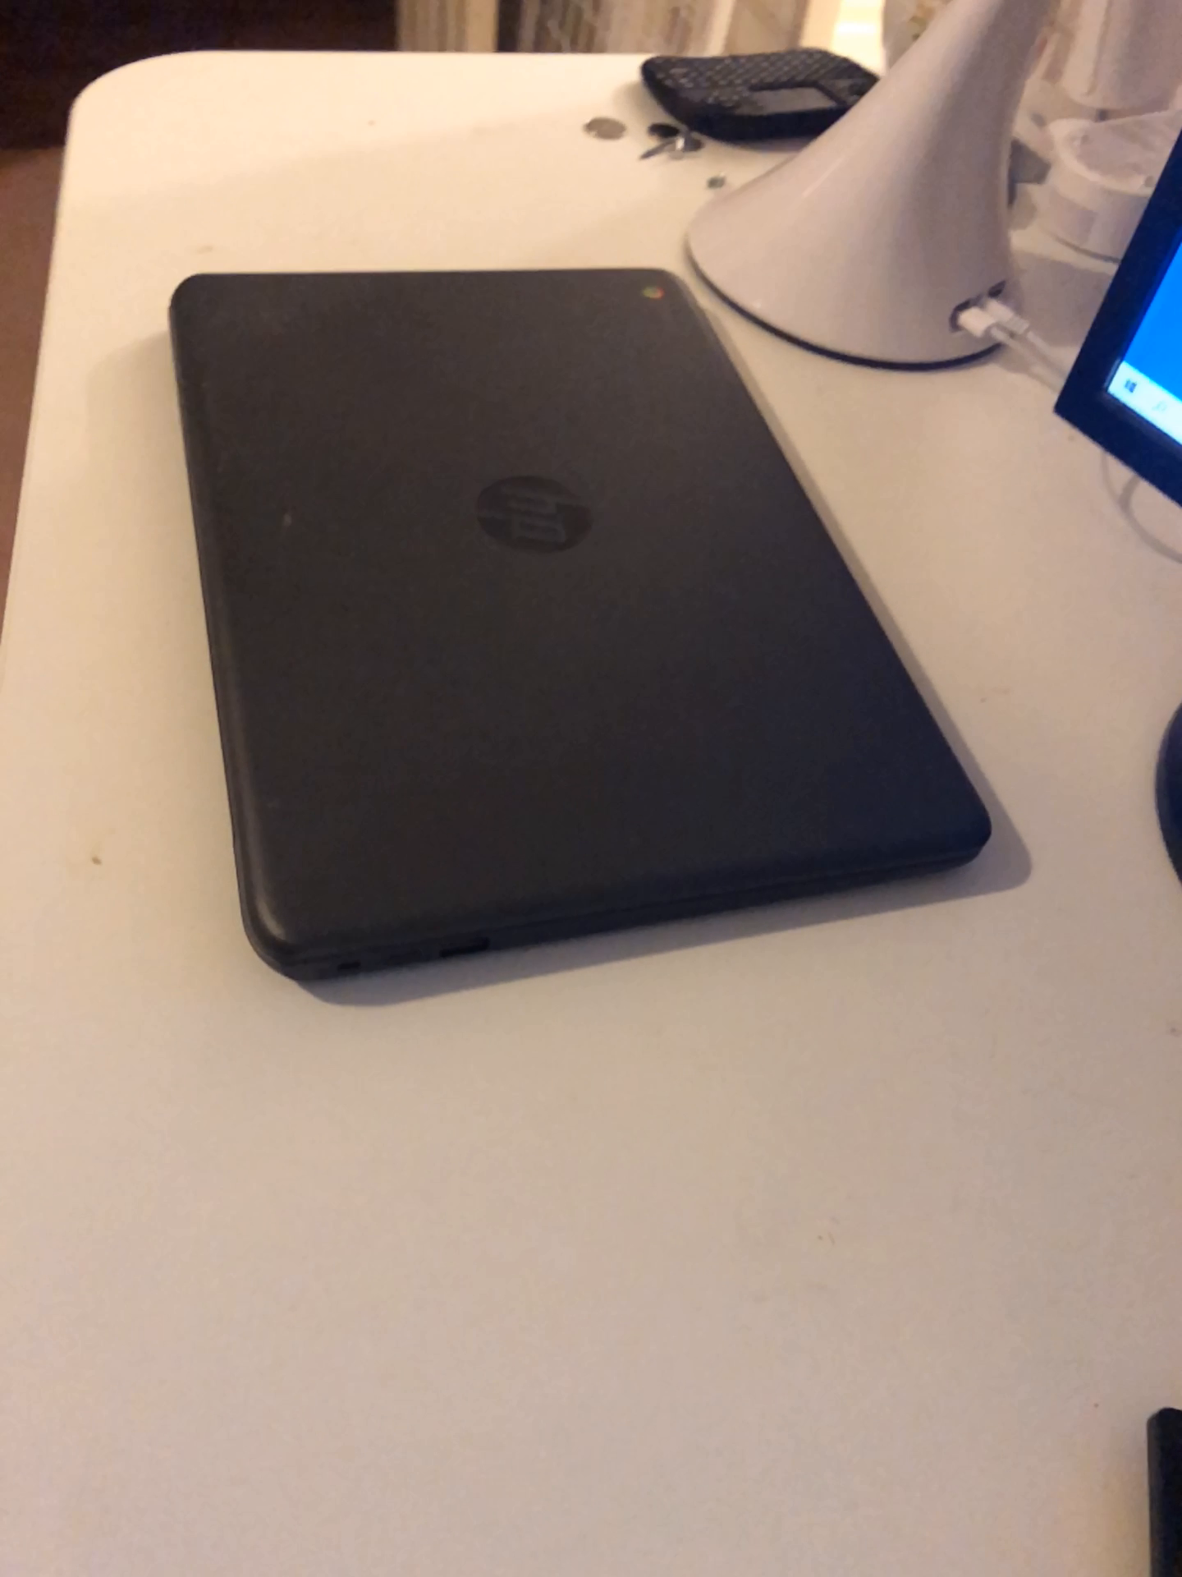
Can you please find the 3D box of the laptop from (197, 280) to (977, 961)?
[{"bbox_3d":[-0.023,-0.093,0.472,0.208,0.001,0.327,-8,52,-15],"label":"laptop"}]
